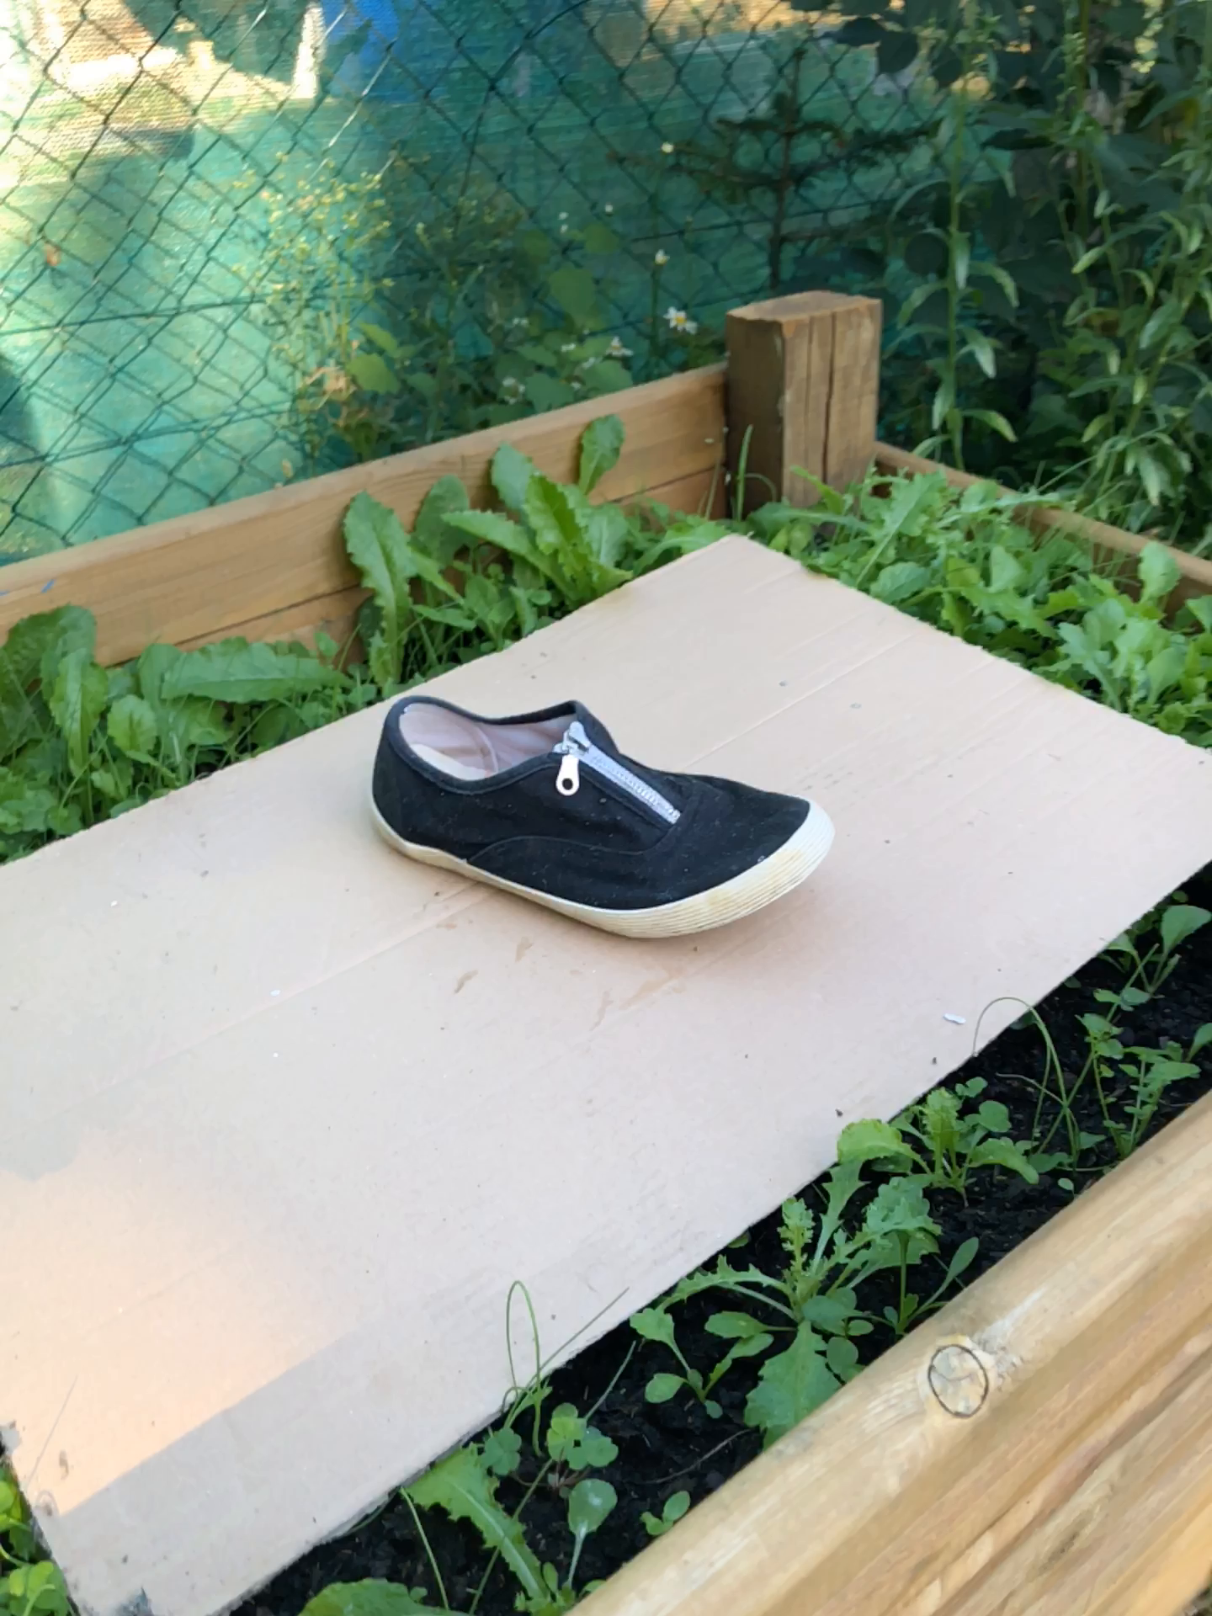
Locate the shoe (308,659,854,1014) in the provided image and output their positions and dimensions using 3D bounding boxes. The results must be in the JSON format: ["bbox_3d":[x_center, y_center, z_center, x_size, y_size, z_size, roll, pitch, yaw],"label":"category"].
[{"bbox_3d":[-0.013,0.006,0.654,0.240,0.070,0.101,16,40,22],"label":"shoe"}]
